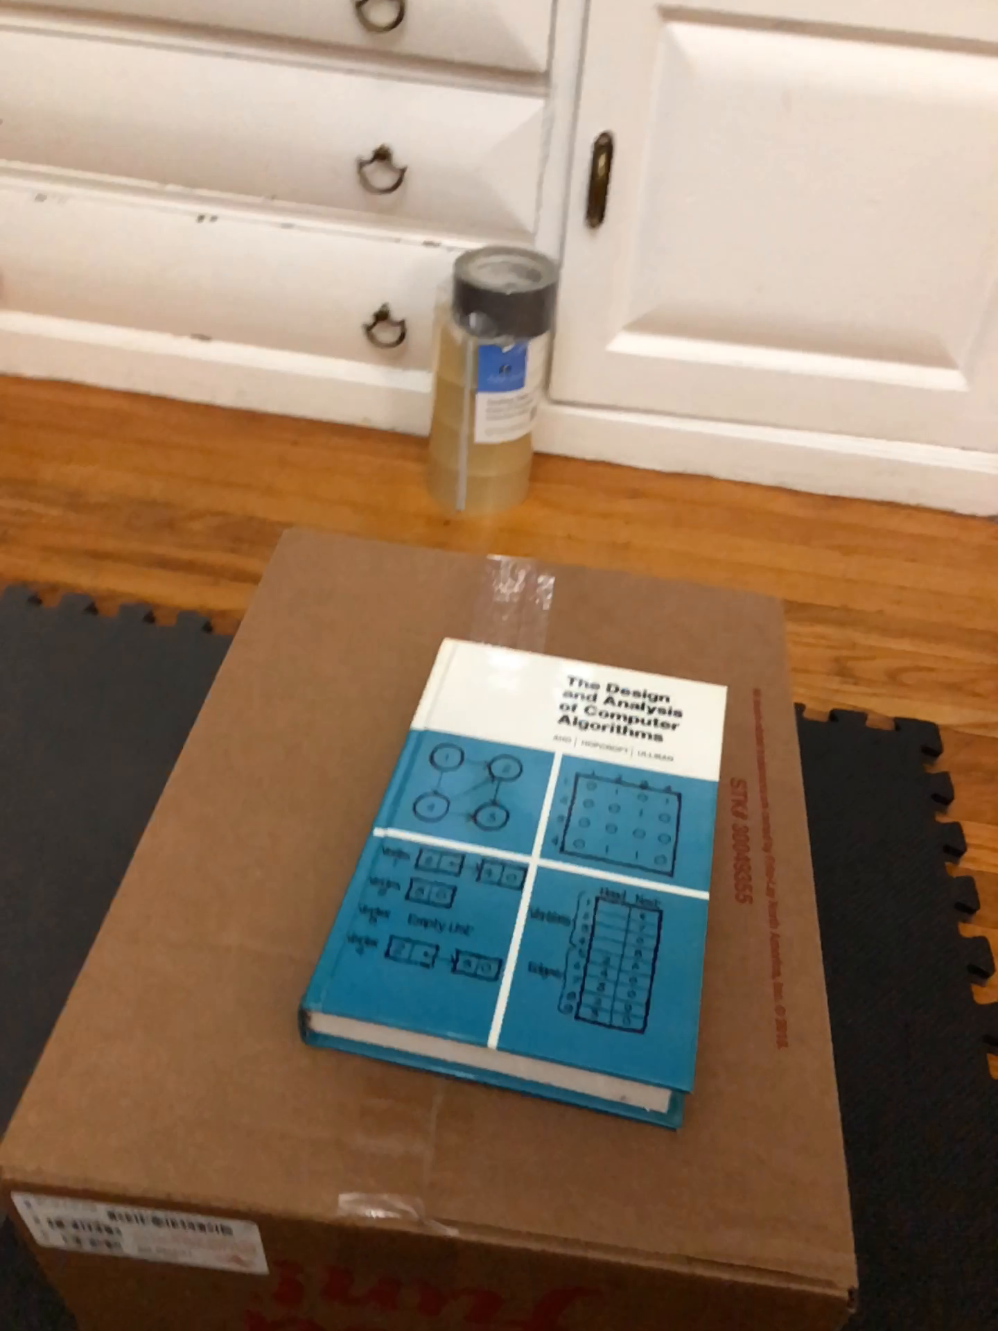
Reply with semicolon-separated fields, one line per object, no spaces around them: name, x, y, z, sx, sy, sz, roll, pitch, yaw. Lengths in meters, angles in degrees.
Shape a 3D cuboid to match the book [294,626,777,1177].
book;0.035;0.094;0.549;0.190;0.040;0.262;11;42;7
